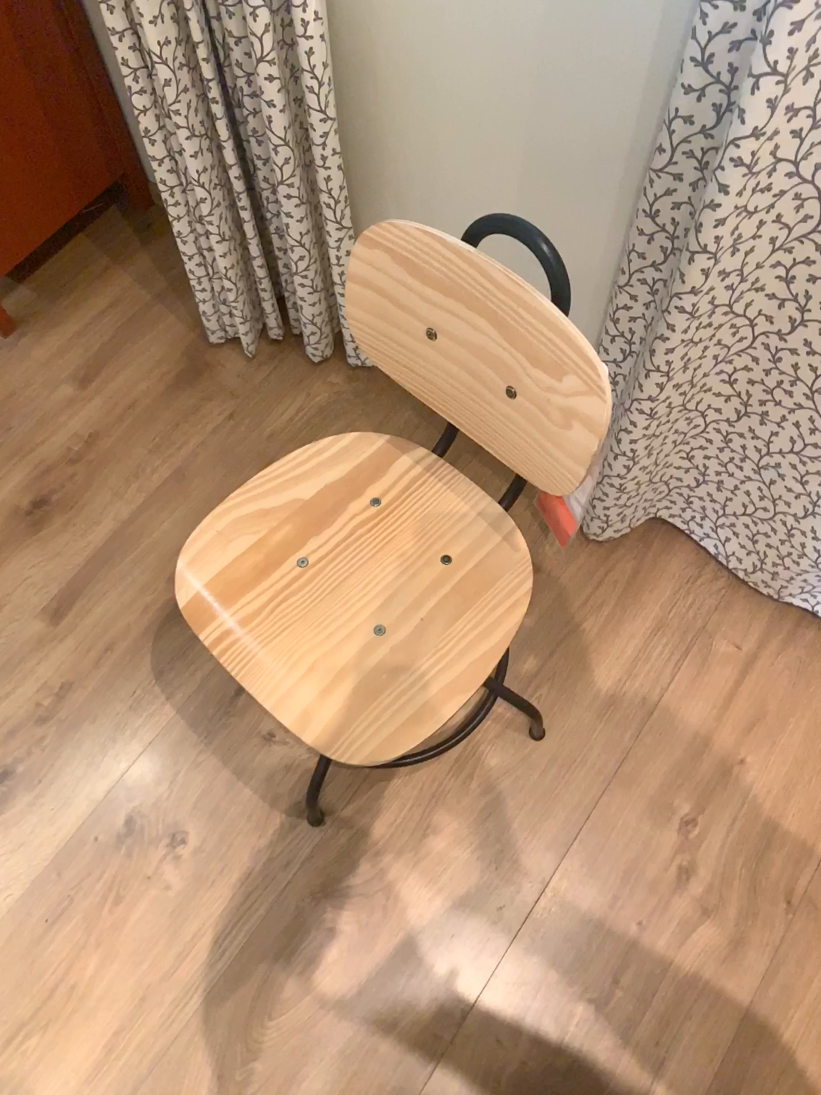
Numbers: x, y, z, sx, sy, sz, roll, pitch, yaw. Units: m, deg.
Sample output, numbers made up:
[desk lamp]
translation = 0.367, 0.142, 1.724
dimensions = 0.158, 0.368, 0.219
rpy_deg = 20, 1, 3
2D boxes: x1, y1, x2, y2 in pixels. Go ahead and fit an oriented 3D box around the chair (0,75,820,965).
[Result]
[chair]
translation = -0.050, 0.020, 0.991
dimensions = 0.560, 0.649, 0.620
rpy_deg = 41, 72, 18
